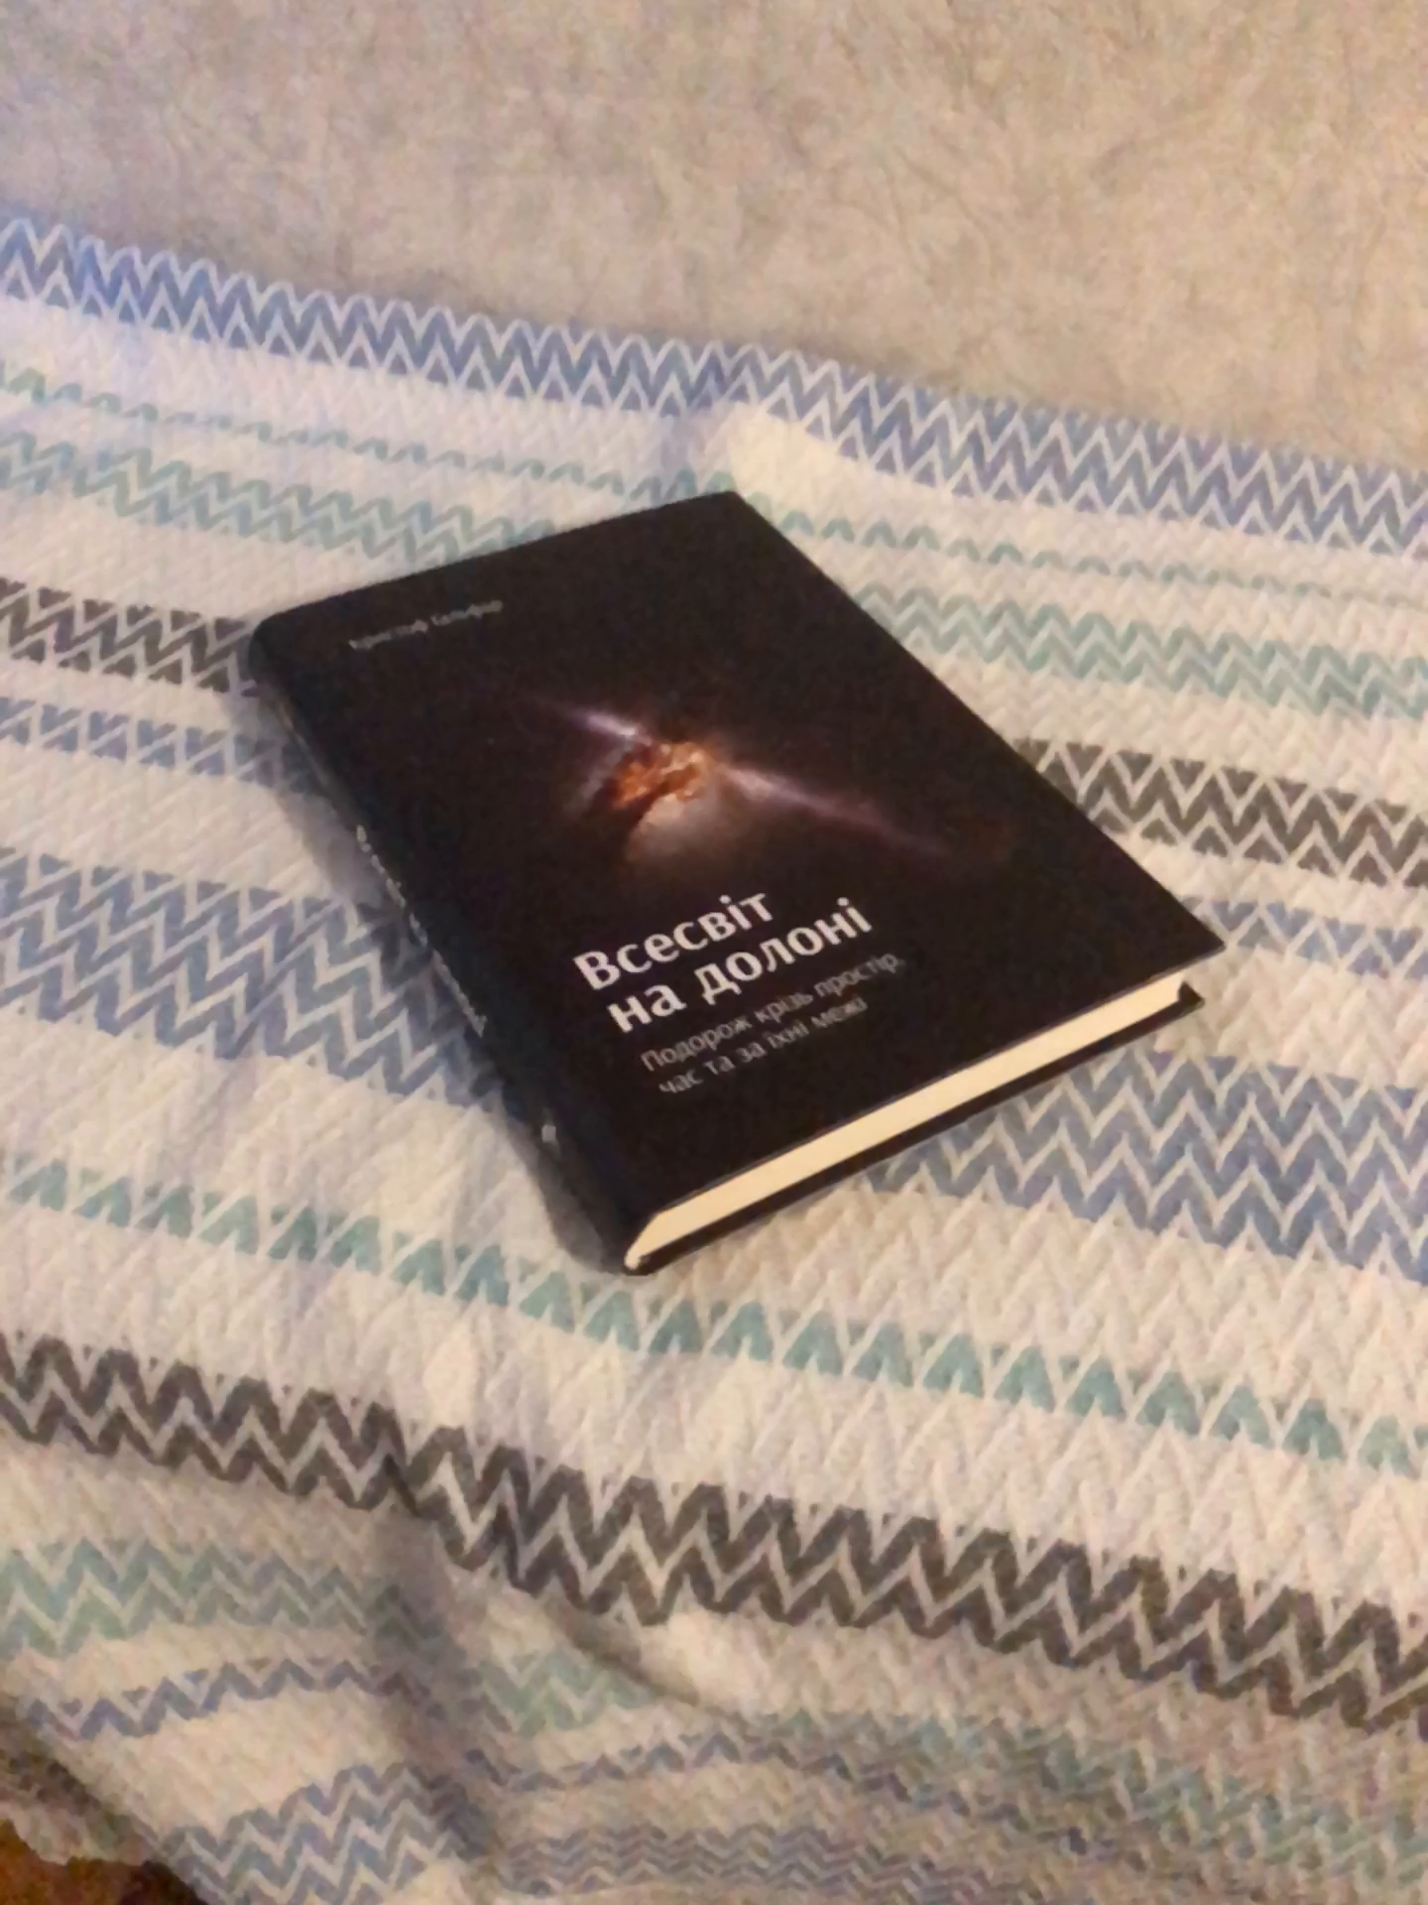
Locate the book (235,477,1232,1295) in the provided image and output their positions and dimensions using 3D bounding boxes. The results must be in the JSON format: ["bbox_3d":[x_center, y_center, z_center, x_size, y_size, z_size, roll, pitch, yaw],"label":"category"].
[{"bbox_3d":[-0.006,-0.039,0.413,0.161,0.030,0.225,-22,52,-22],"label":"book"}]
